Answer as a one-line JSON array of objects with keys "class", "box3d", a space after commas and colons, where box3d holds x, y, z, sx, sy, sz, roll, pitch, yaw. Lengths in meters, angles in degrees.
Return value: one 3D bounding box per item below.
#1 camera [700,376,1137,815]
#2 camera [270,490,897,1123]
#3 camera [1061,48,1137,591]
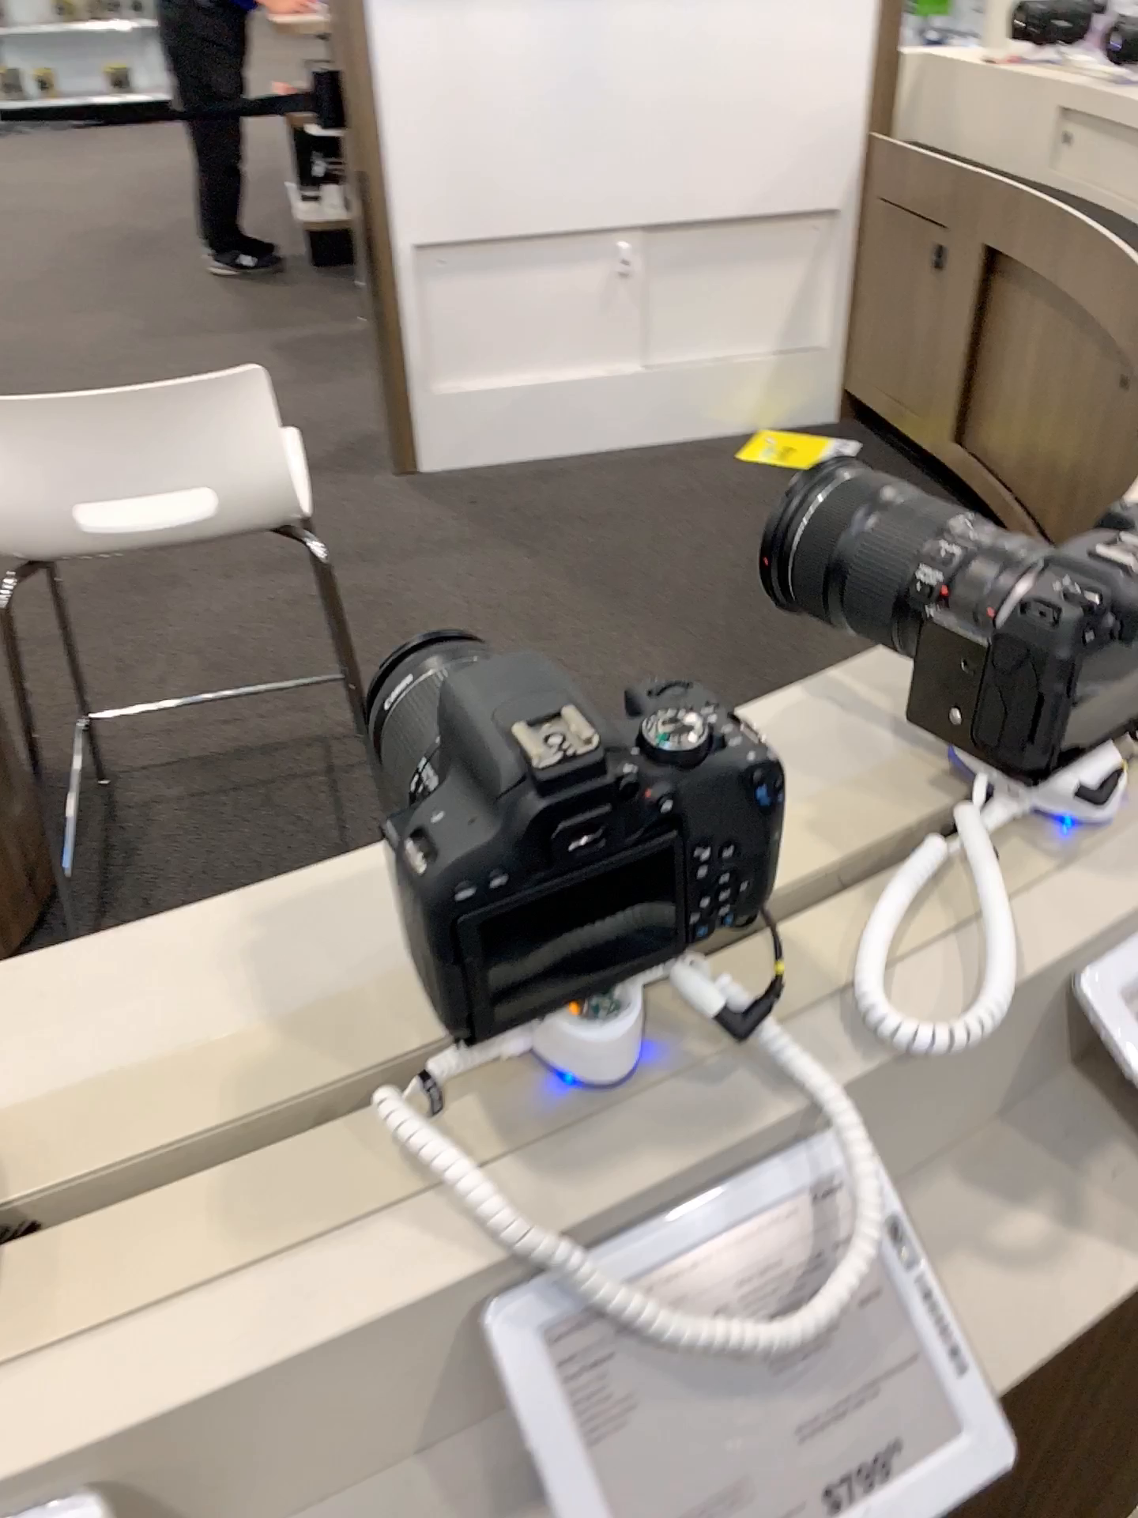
[{"class": "camera", "box3d": [0.183, -0.090, 0.549, 0.140, 0.099, 0.201, -26, 43, -29]}, {"class": "camera", "box3d": [-0.003, 0.003, 0.432, 0.150, 0.119, 0.171, -19, 39, -21]}, {"class": "camera", "box3d": [0.408, -0.242, 0.628, 0.150, 0.219, 0.171, -26, 43, -29]}]
